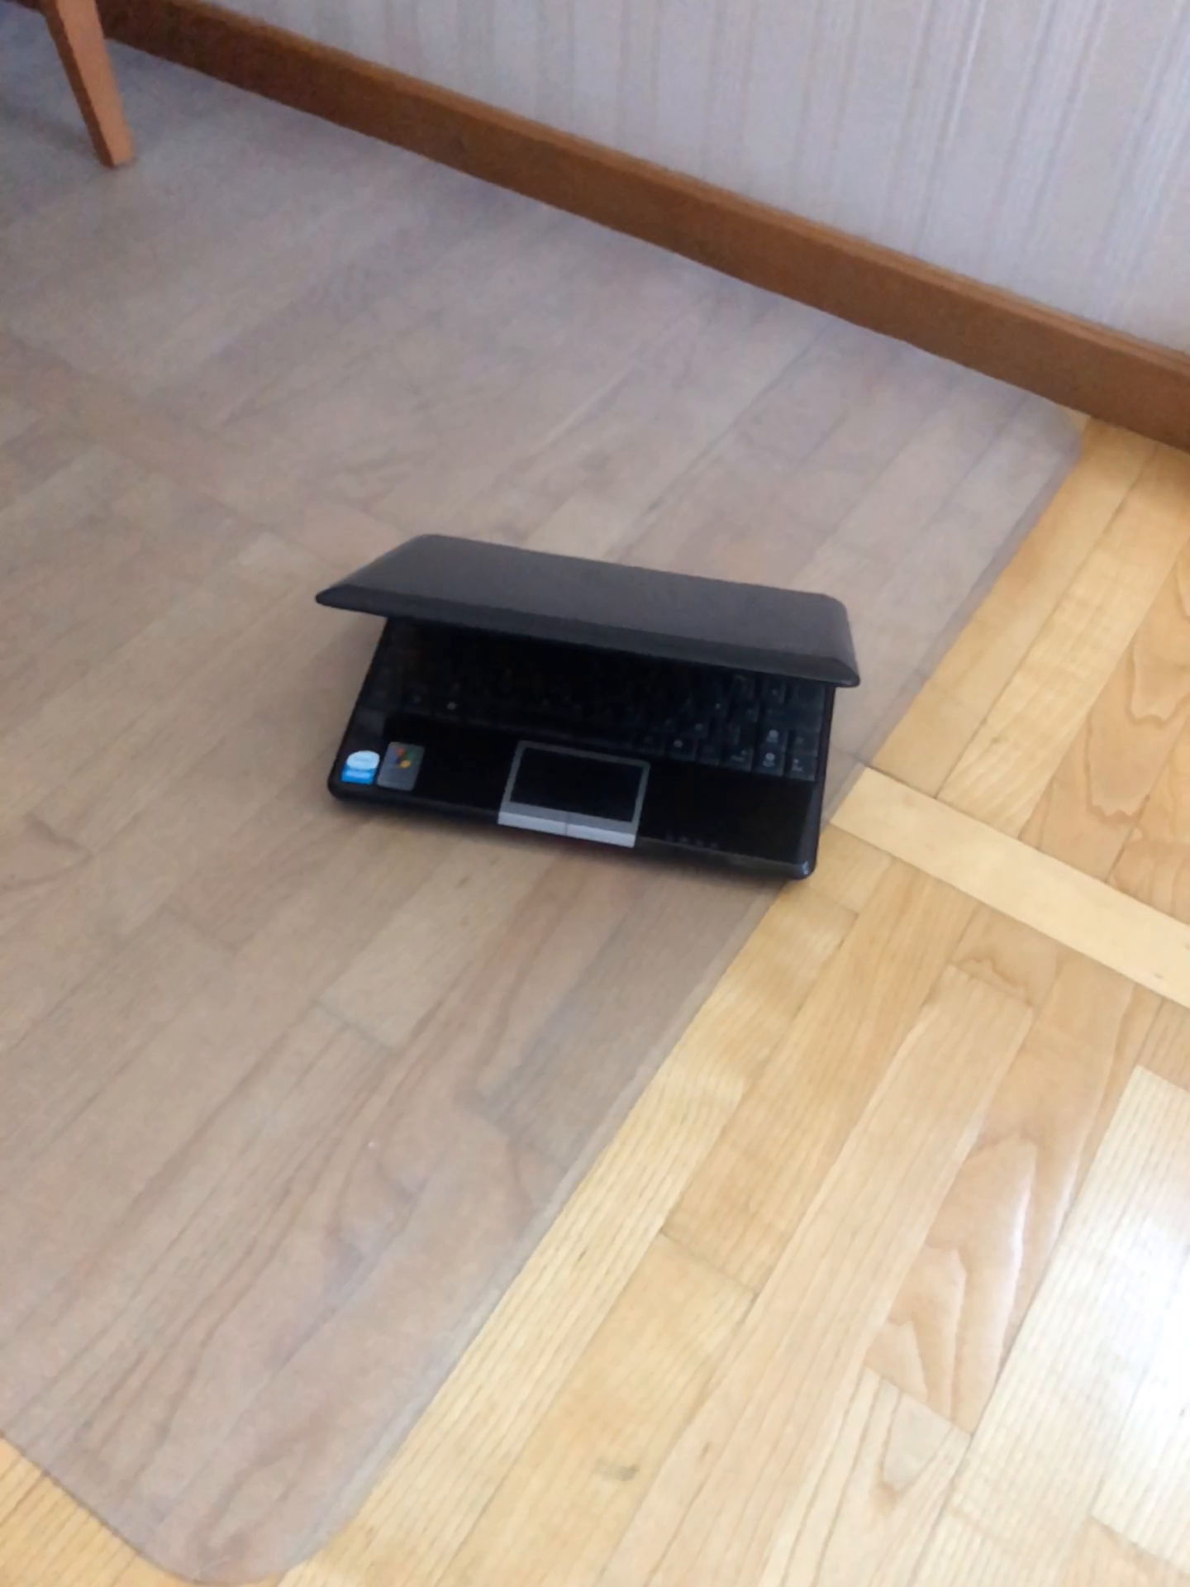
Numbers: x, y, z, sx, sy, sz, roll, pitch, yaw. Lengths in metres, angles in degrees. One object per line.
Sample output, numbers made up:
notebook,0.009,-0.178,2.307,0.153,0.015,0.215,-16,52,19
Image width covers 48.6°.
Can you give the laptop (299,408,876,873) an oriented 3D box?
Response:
laptop,0.003,-0.085,0.711,0.263,0.102,0.183,9,56,4
